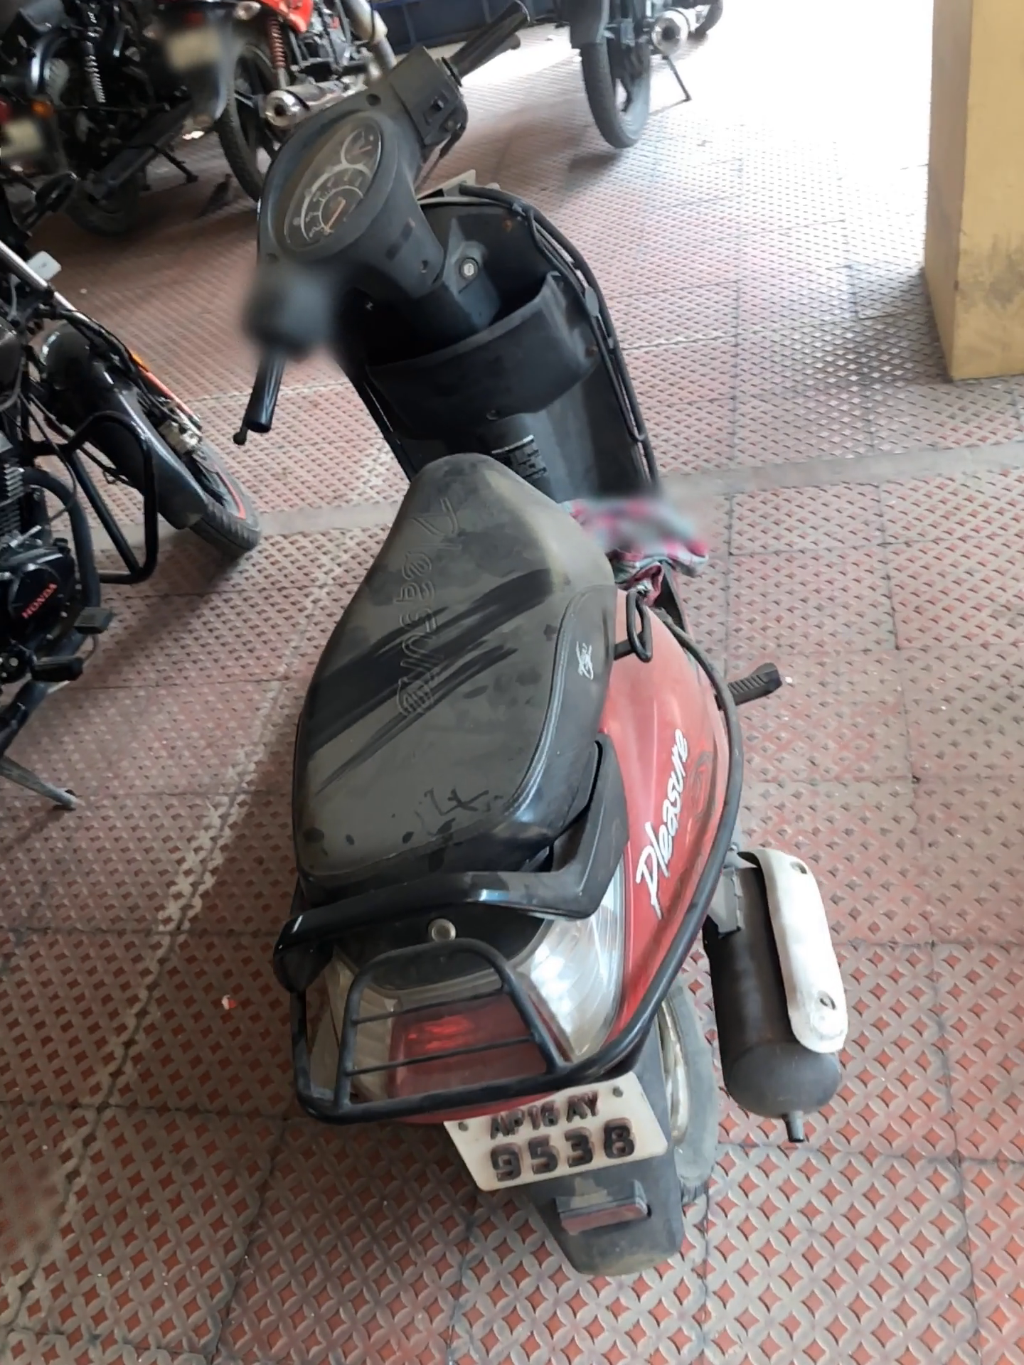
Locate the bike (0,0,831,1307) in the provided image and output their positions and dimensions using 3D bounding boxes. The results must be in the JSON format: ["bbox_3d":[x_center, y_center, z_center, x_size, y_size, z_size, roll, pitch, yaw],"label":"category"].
[{"bbox_3d":[-0.128,-0.214,1.586,0.599,1.030,1.659,-13,42,4],"label":"bike"}]
